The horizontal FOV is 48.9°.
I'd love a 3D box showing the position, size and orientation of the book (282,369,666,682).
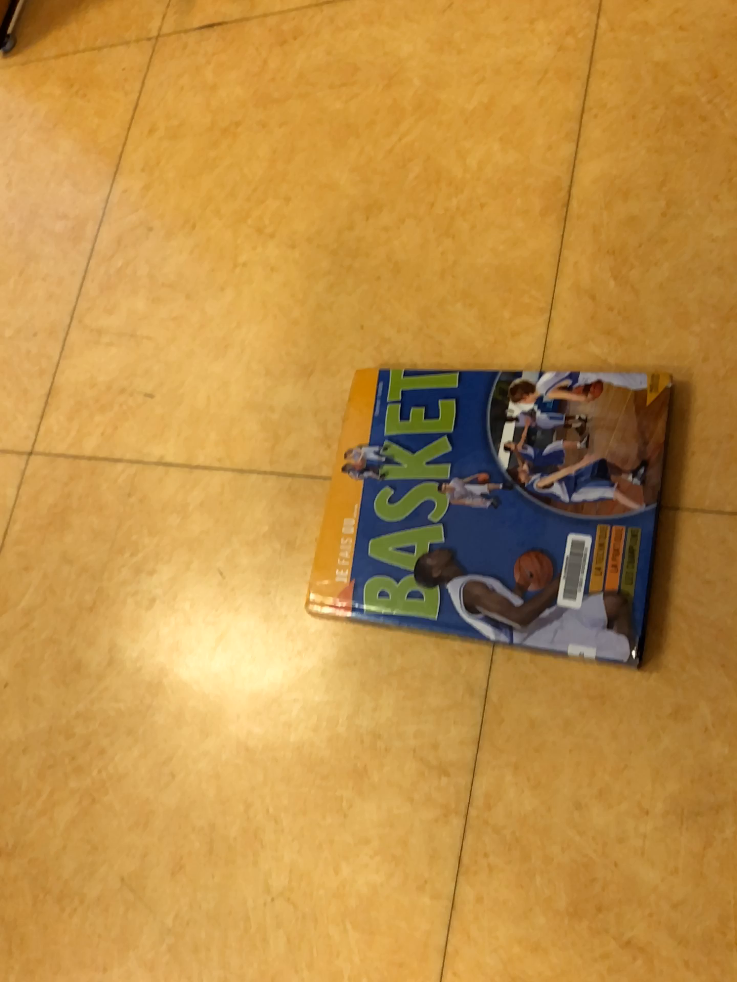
[{"bbox_3d":[0.073,0.012,0.599,0.257,0.020,0.210,5,75,26],"label":"book"}]
